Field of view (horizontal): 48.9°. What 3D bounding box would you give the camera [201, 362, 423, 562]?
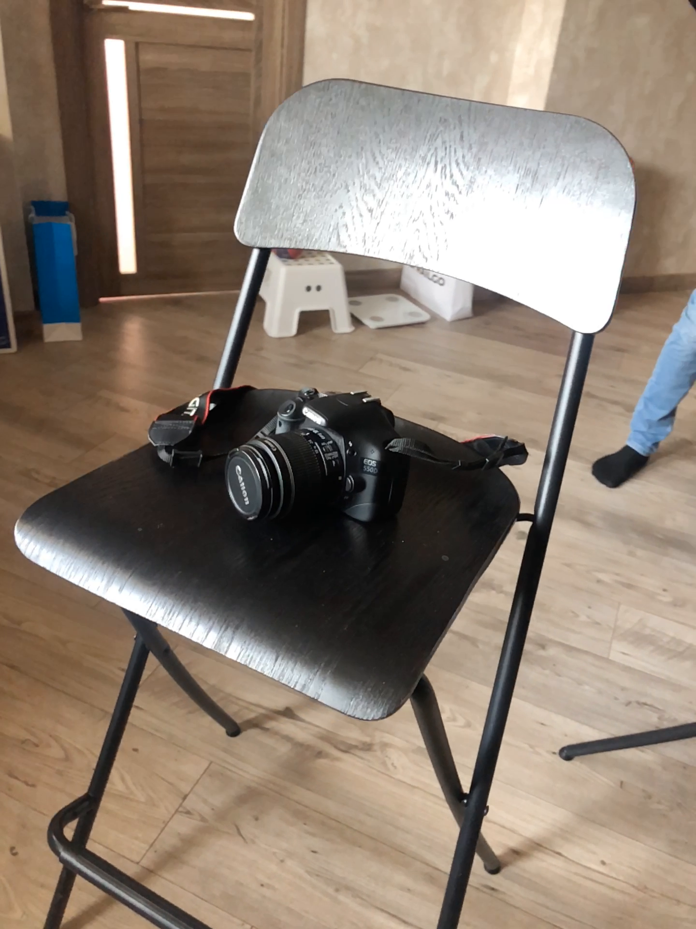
[{"bbox_3d":[-0.034,-0.010,0.657,0.141,0.092,0.121,-18,39,-35],"label":"camera"}]
